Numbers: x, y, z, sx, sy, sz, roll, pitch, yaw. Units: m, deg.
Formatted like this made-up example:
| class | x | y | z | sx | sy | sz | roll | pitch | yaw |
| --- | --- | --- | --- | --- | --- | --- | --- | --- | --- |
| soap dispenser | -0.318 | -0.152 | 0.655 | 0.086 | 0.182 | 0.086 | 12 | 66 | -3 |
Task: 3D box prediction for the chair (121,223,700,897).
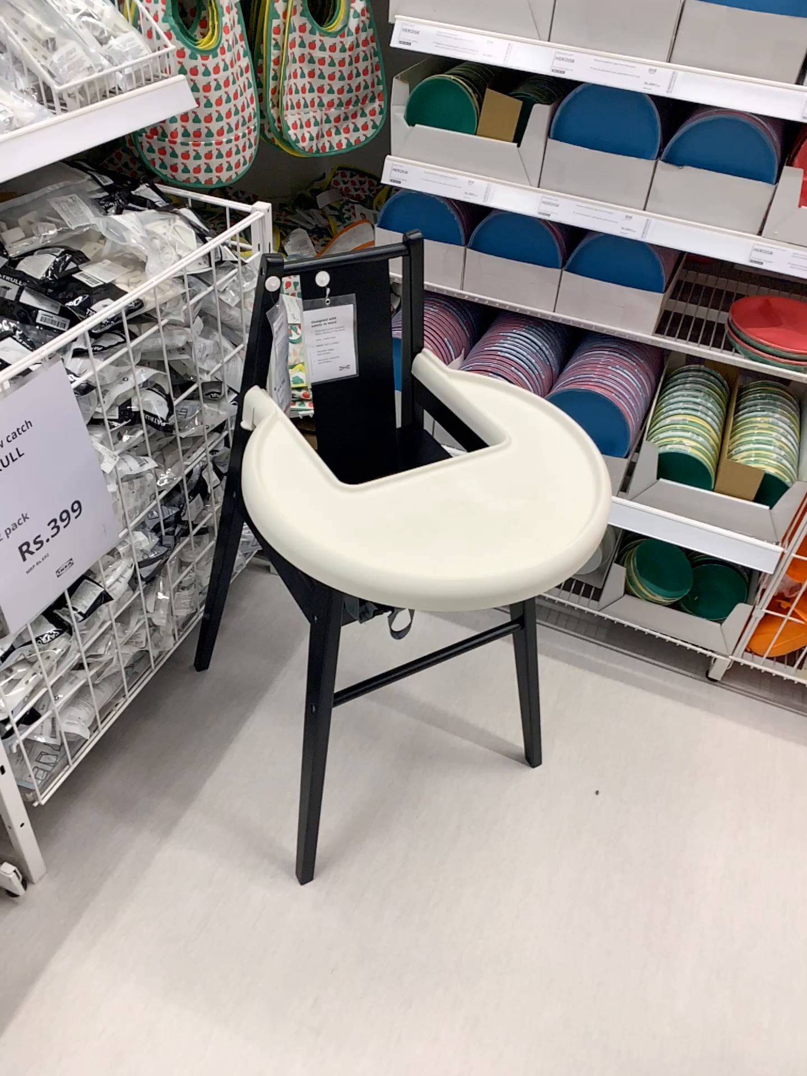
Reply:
| class | x | y | z | sx | sy | sz | roll | pitch | yaw |
| --- | --- | --- | --- | --- | --- | --- | --- | --- | --- |
| chair | -0.038 | 0.024 | 1.296 | 0.531 | 0.777 | 0.552 | -19 | 47 | -25 |
